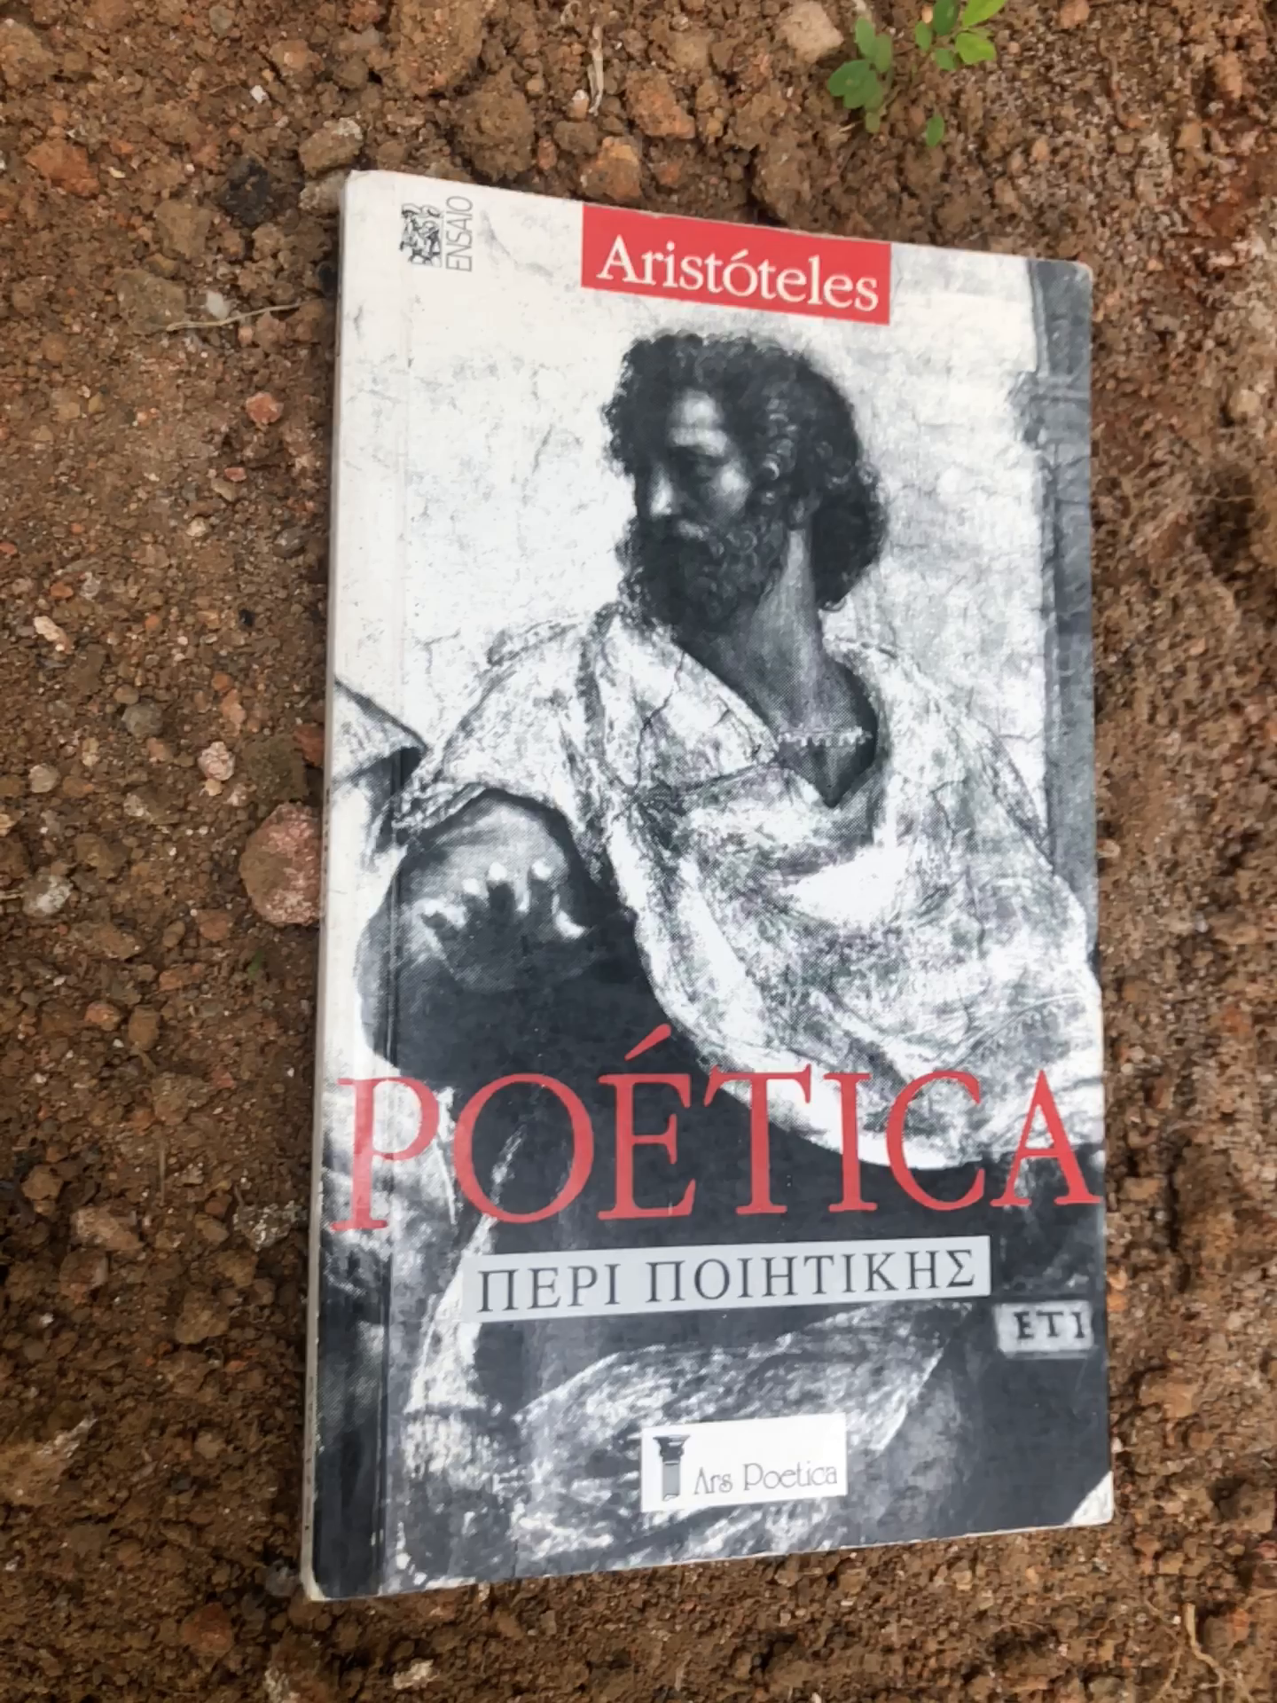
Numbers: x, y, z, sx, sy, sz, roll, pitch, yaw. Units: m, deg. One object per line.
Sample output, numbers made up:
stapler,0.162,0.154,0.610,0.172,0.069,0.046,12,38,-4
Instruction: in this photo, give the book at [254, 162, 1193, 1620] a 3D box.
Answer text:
book,0.015,0.004,0.206,0.130,0.015,0.189,1,86,-12
